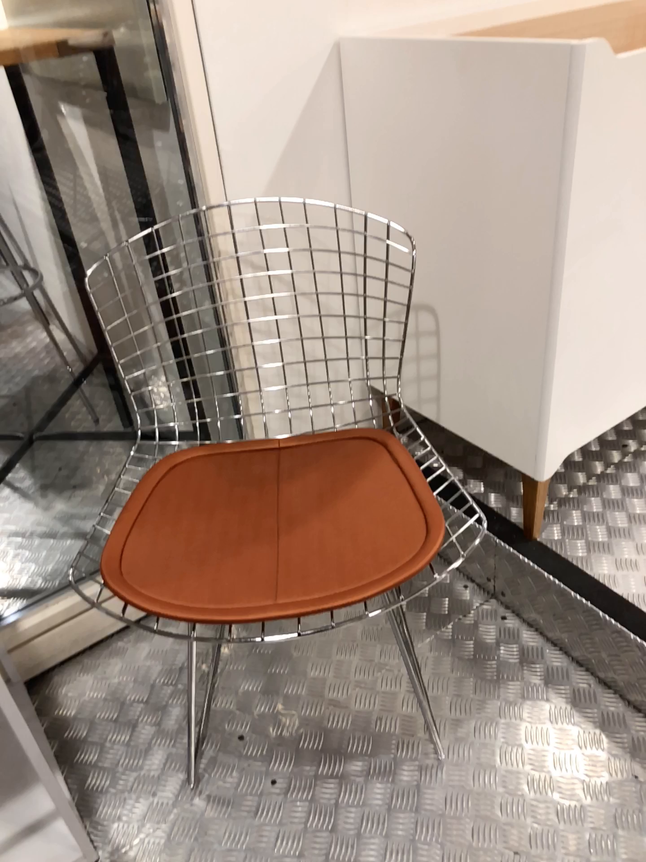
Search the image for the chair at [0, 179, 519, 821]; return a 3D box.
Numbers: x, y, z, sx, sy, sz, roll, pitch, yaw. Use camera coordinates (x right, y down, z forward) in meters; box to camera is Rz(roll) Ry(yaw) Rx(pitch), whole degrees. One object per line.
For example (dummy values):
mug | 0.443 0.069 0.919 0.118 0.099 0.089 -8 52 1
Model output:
chair | -0.076 0.084 1.080 0.550 0.705 0.574 -7 33 0
